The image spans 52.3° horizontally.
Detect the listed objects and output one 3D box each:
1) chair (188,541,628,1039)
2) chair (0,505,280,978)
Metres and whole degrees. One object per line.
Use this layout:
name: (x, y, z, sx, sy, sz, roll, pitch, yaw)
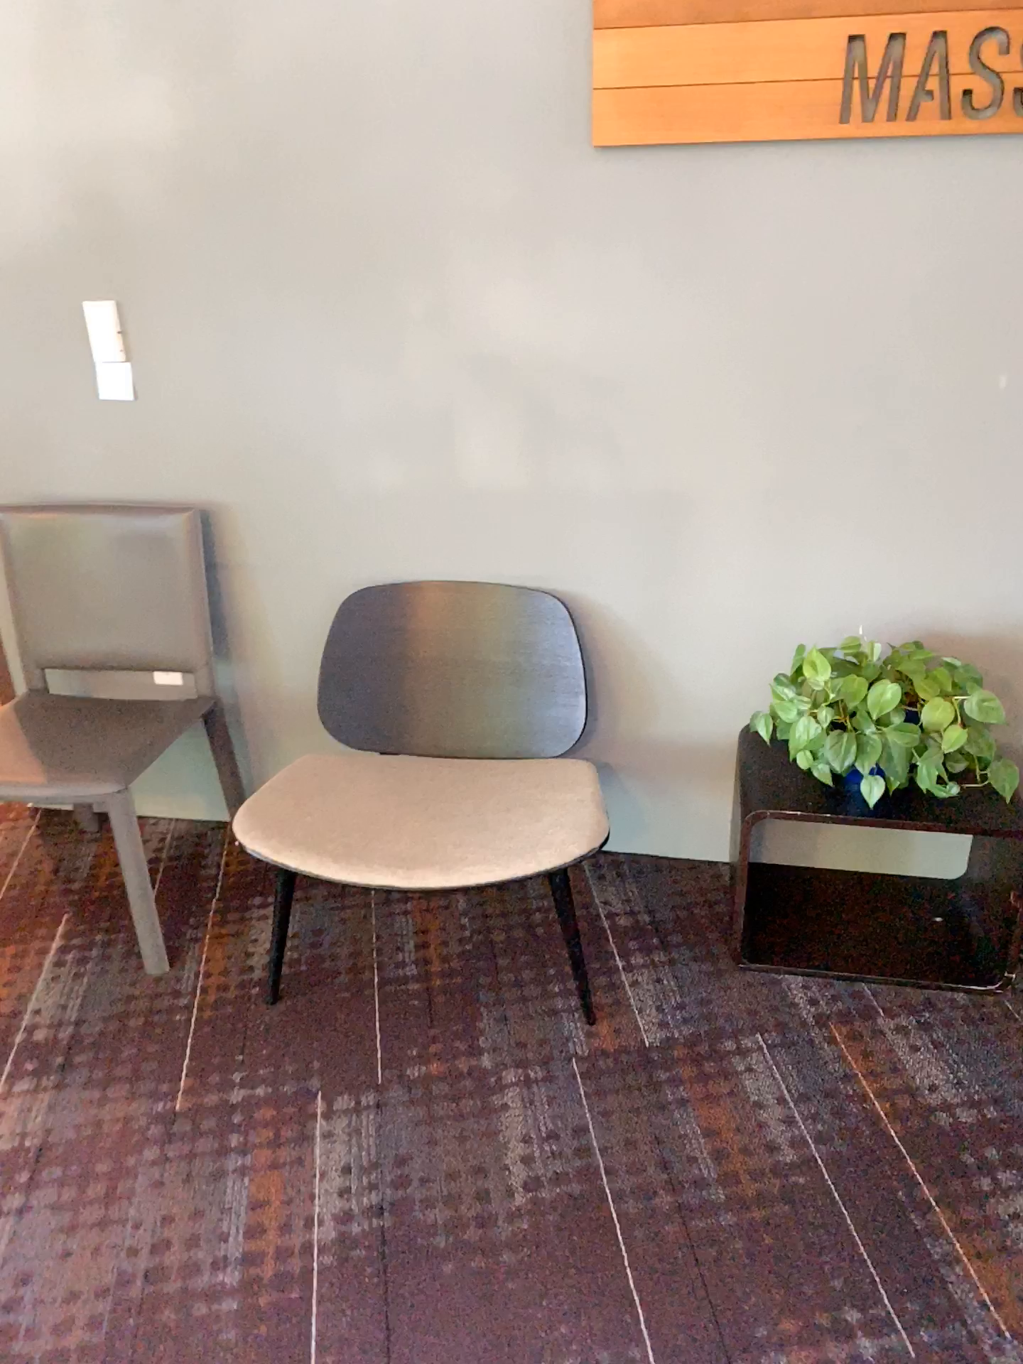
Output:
chair: (-0.147, 0.201, 2.355, 0.790, 0.835, 0.714, 1, 26, 7)
chair: (-1.003, 0.100, 2.406, 0.640, 0.835, 0.694, 1, 26, 7)
